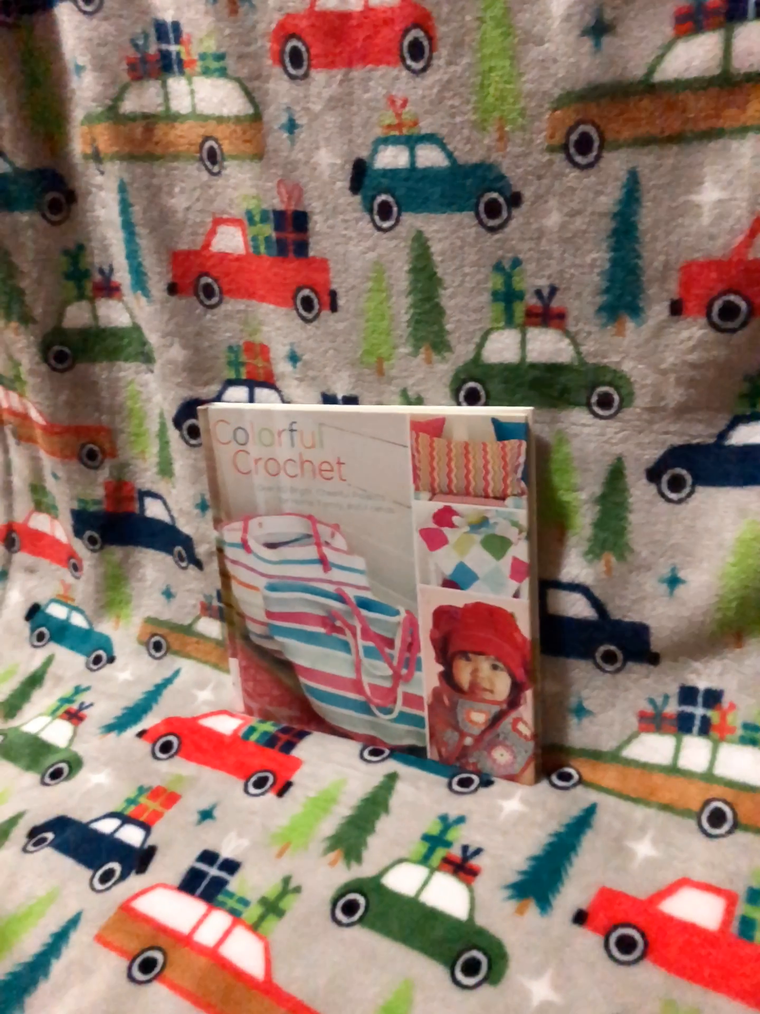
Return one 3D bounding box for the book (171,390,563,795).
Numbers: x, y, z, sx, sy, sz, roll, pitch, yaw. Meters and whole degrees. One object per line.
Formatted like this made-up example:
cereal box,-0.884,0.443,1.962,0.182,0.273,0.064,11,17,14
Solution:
book,-0.006,0.044,0.460,0.202,0.214,0.020,5,26,28
